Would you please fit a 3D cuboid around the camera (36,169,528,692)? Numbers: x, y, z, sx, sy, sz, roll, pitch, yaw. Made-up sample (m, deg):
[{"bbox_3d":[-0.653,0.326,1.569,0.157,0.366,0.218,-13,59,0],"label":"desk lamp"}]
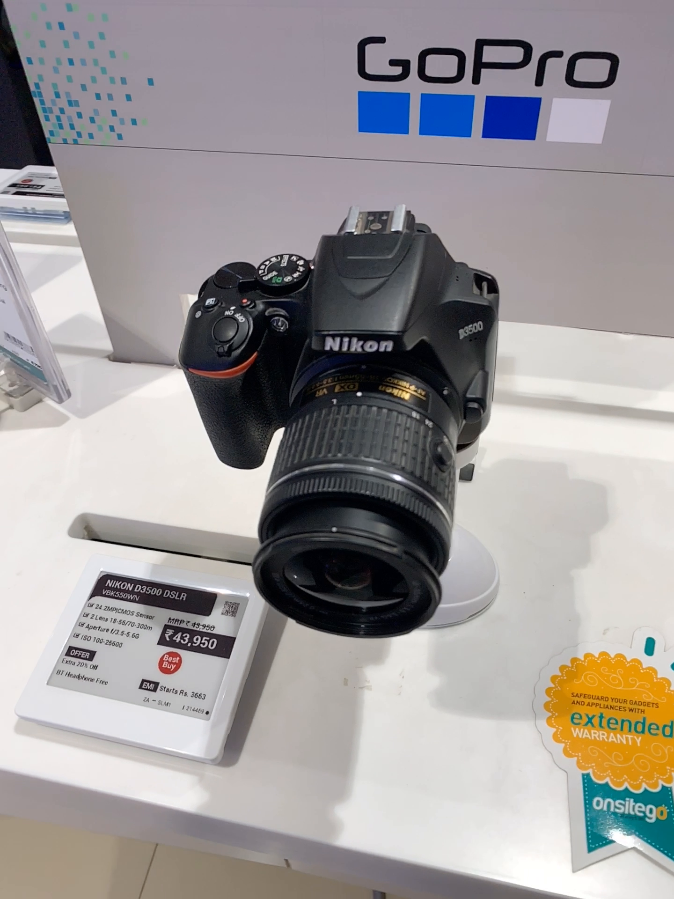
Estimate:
[{"bbox_3d":[-0.002,-0.021,0.260,0.120,0.090,0.181,3,46,7],"label":"camera"}]
